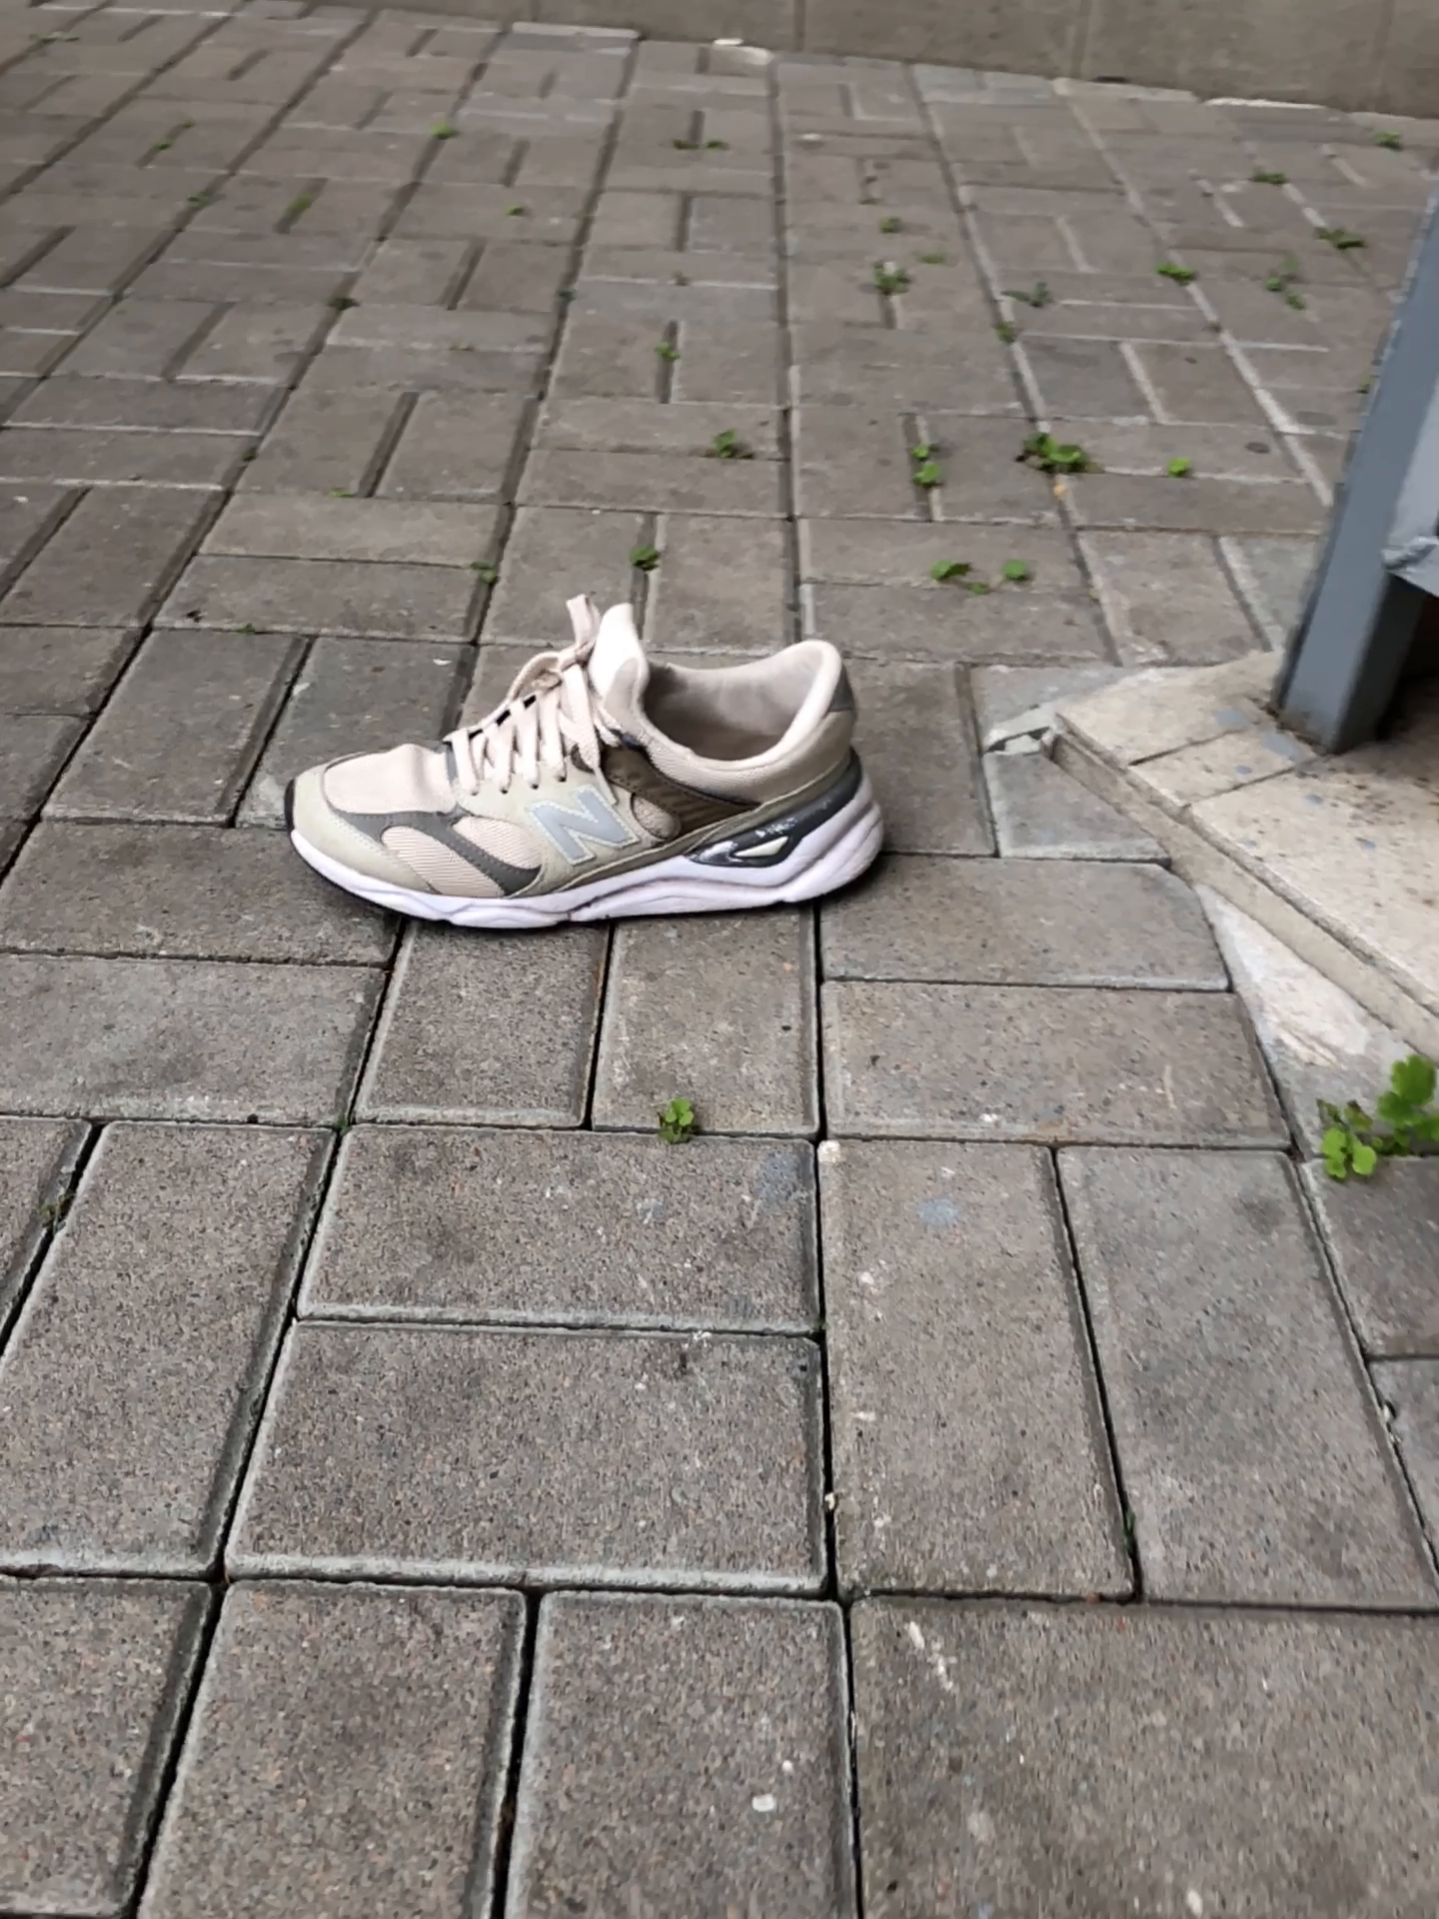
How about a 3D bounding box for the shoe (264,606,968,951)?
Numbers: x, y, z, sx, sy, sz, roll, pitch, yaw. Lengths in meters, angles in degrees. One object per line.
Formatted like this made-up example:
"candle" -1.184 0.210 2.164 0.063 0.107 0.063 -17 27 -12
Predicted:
"shoe" -0.049 -0.090 0.754 0.300 0.109 0.121 -2 39 -7
